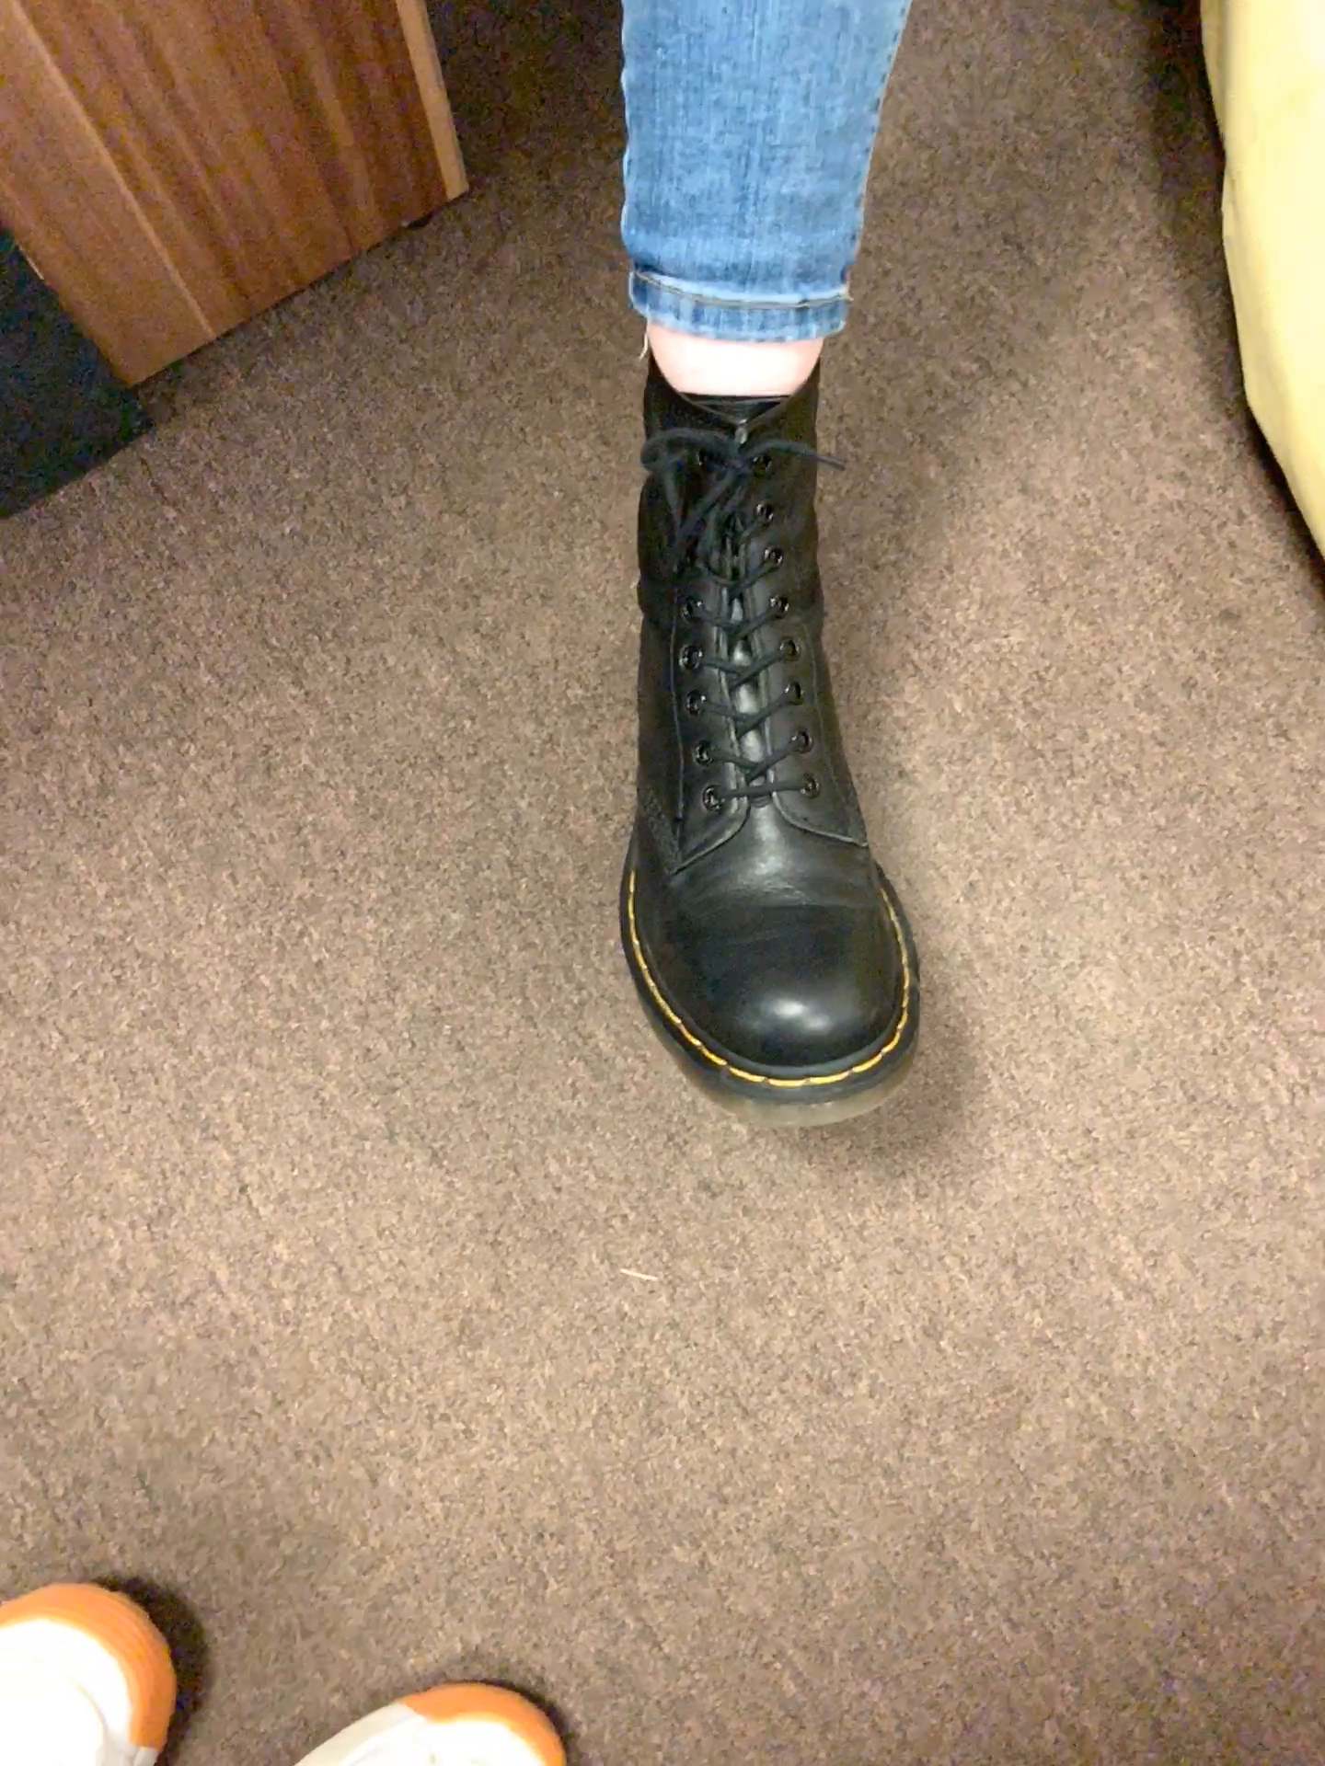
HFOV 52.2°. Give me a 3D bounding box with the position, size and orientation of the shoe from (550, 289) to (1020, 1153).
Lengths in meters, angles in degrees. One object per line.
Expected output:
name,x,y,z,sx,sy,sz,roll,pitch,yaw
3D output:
shoe,0.029,-0.071,0.496,0.120,0.150,0.290,-4,50,1
